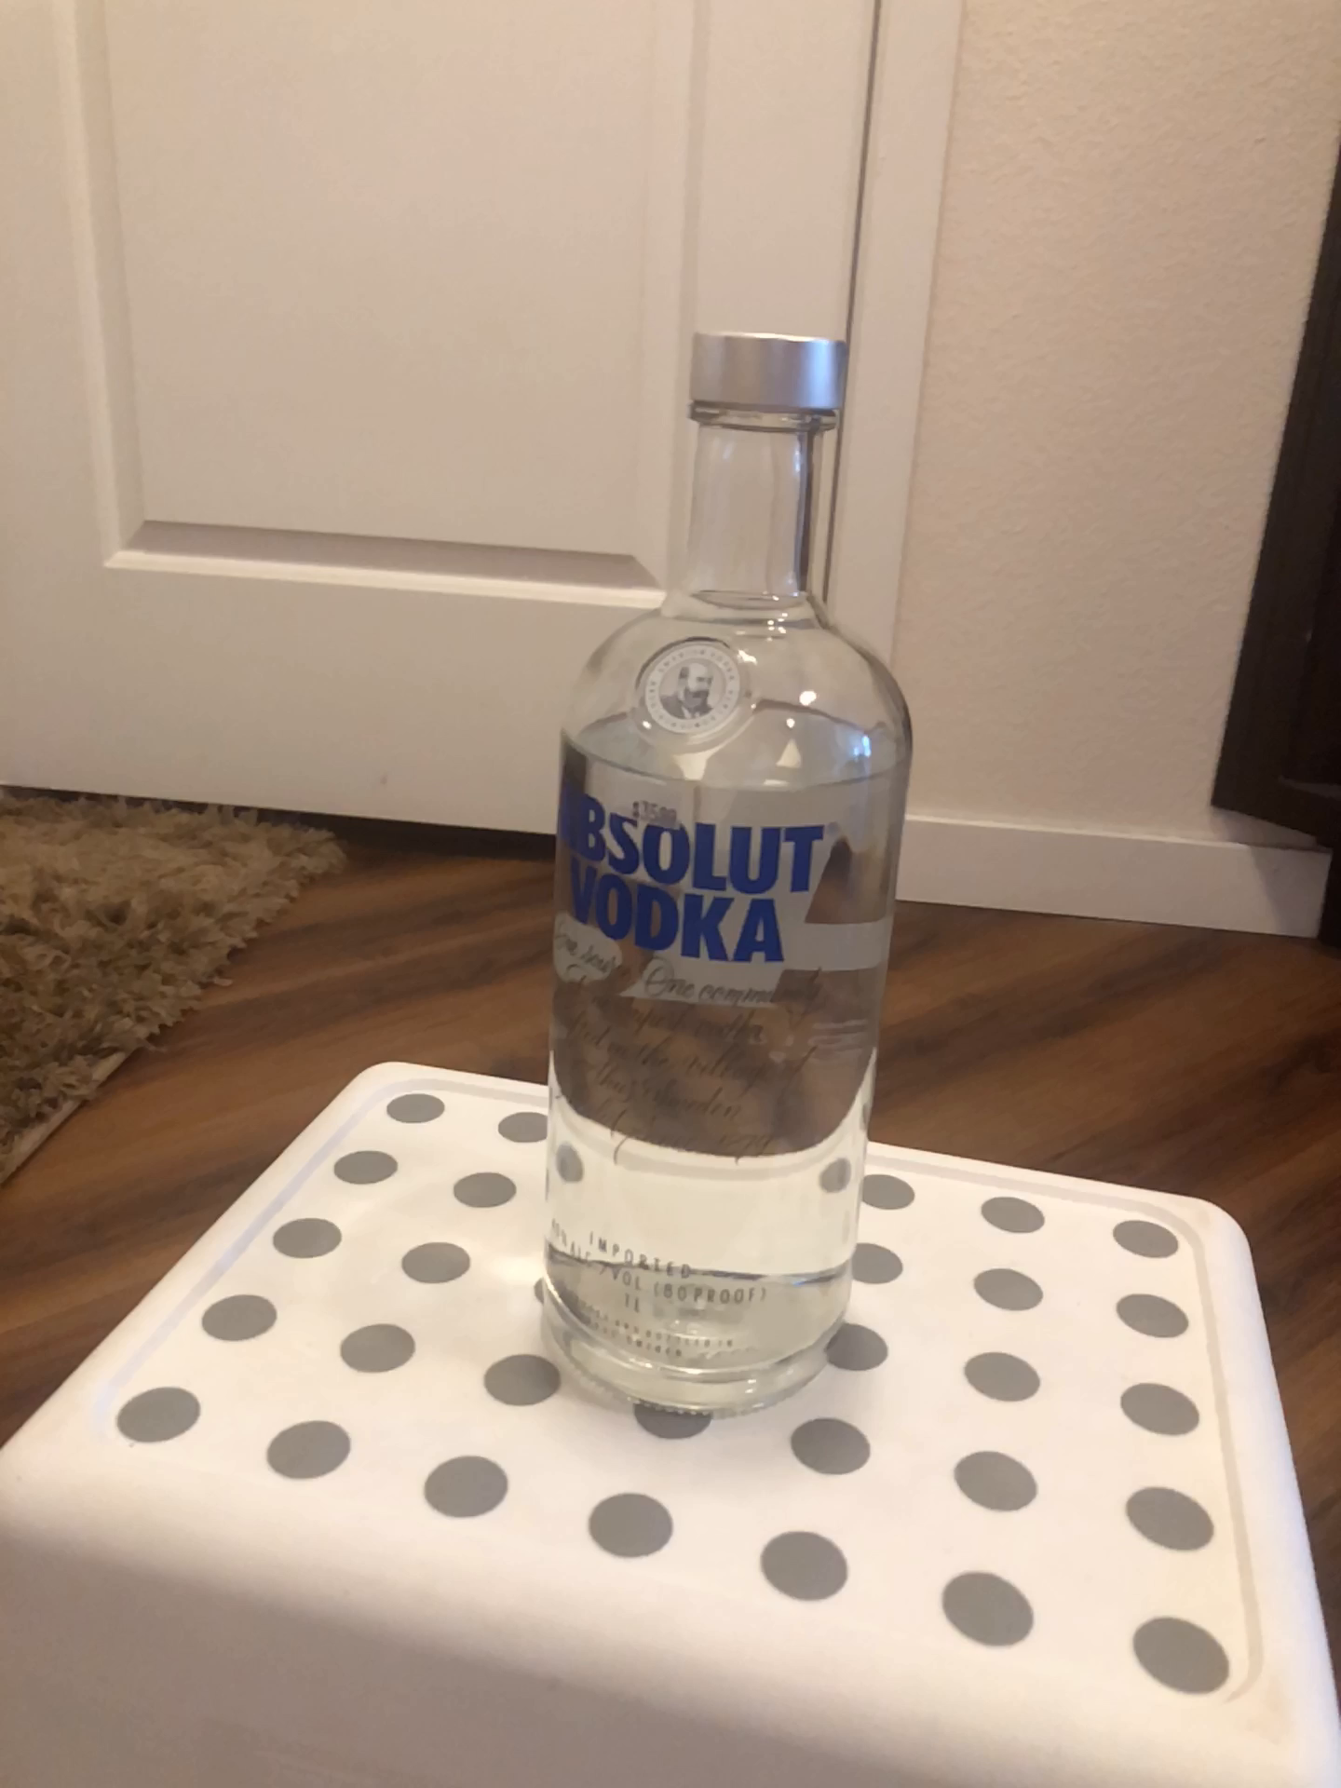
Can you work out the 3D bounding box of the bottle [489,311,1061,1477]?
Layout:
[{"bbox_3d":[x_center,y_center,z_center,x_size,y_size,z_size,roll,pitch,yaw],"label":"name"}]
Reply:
[{"bbox_3d":[0.021,-0.004,0.384,0.090,0.269,0.100,17,26,33],"label":"bottle"}]
